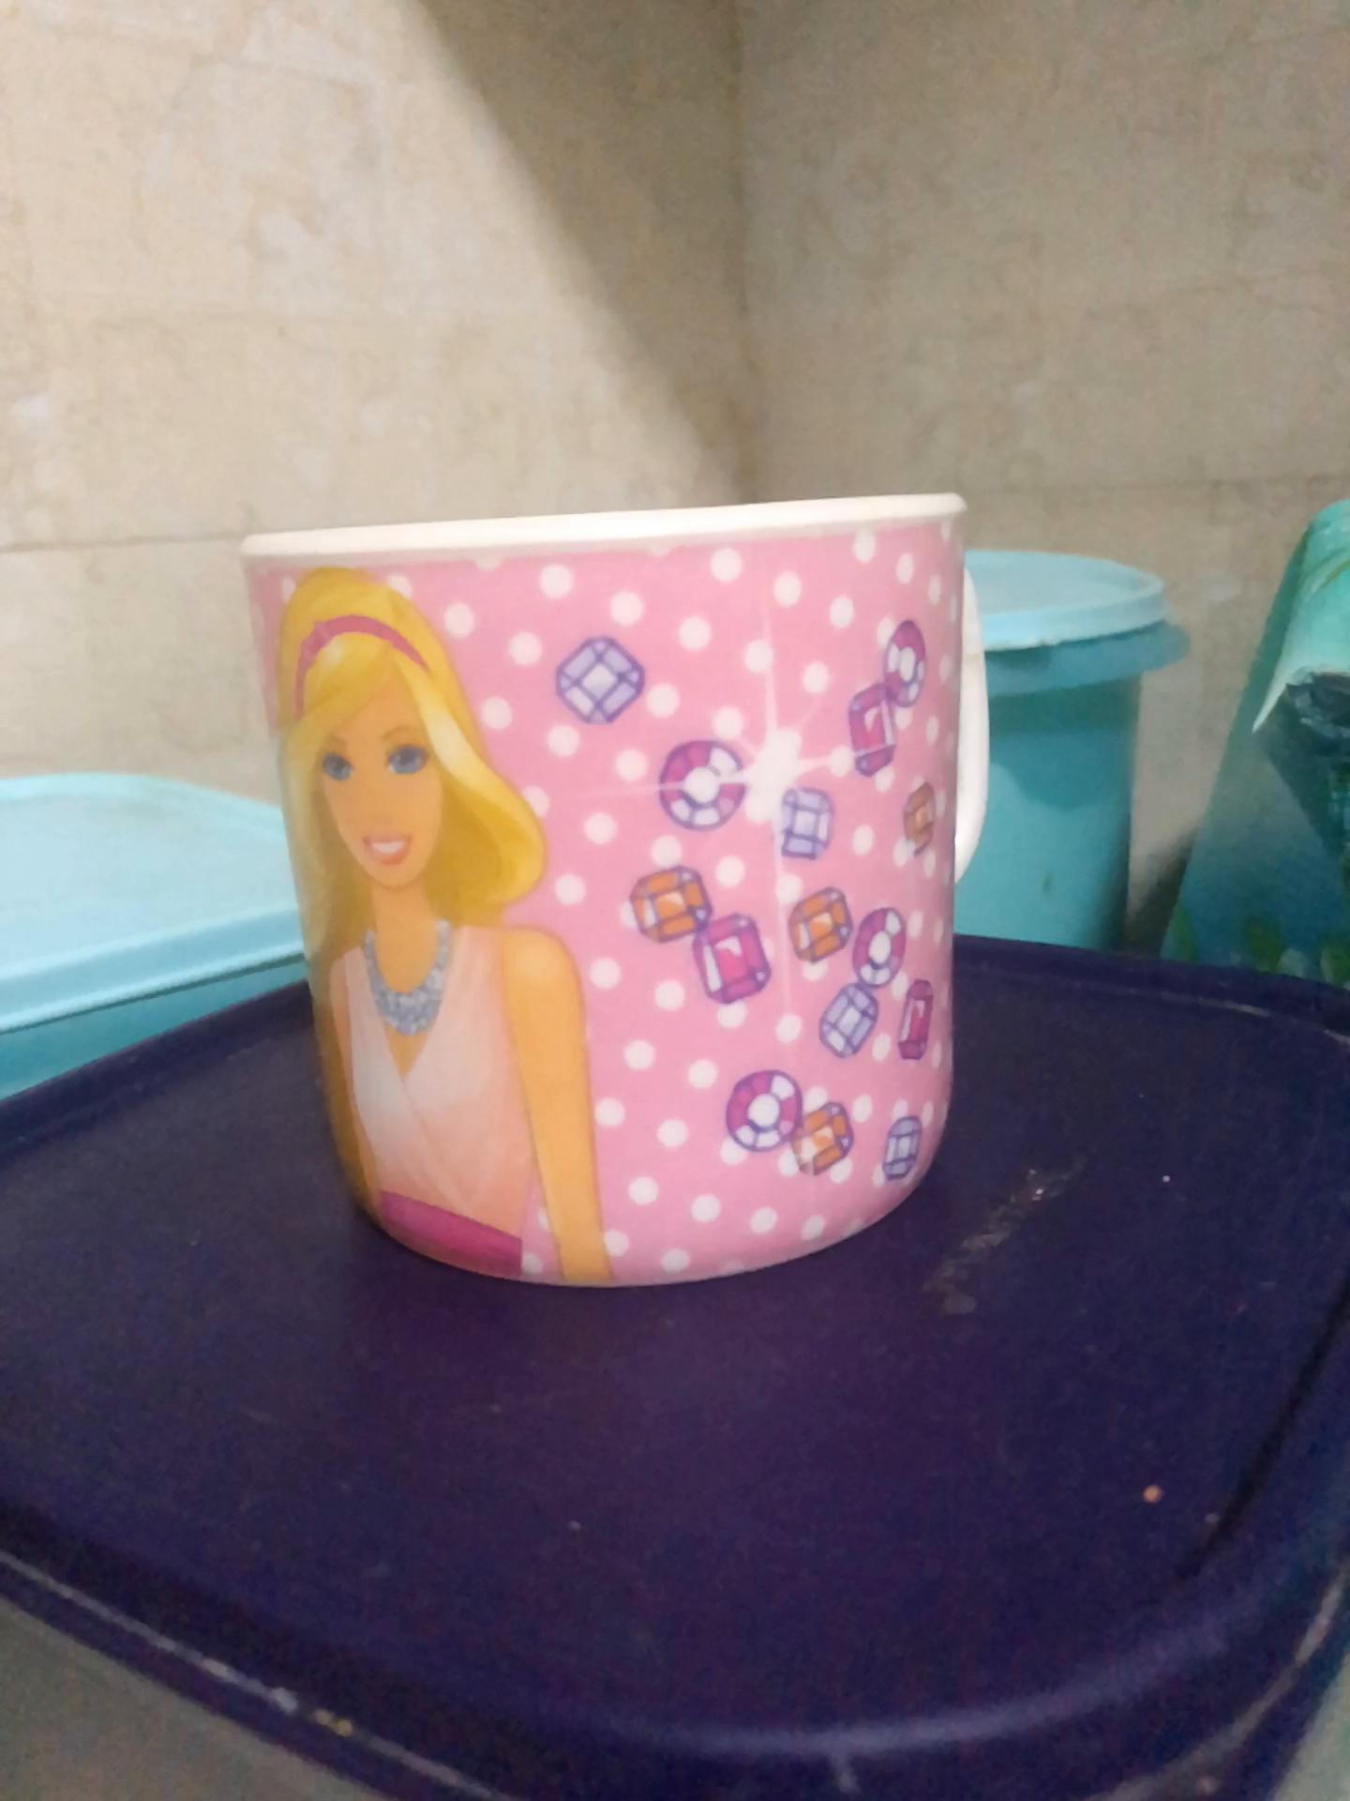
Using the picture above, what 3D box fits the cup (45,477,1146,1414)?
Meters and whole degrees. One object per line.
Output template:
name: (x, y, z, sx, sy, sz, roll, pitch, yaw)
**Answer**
cup: (0.001, -0.011, 0.198, 0.080, 0.080, 0.120, 7, 18, 35)
